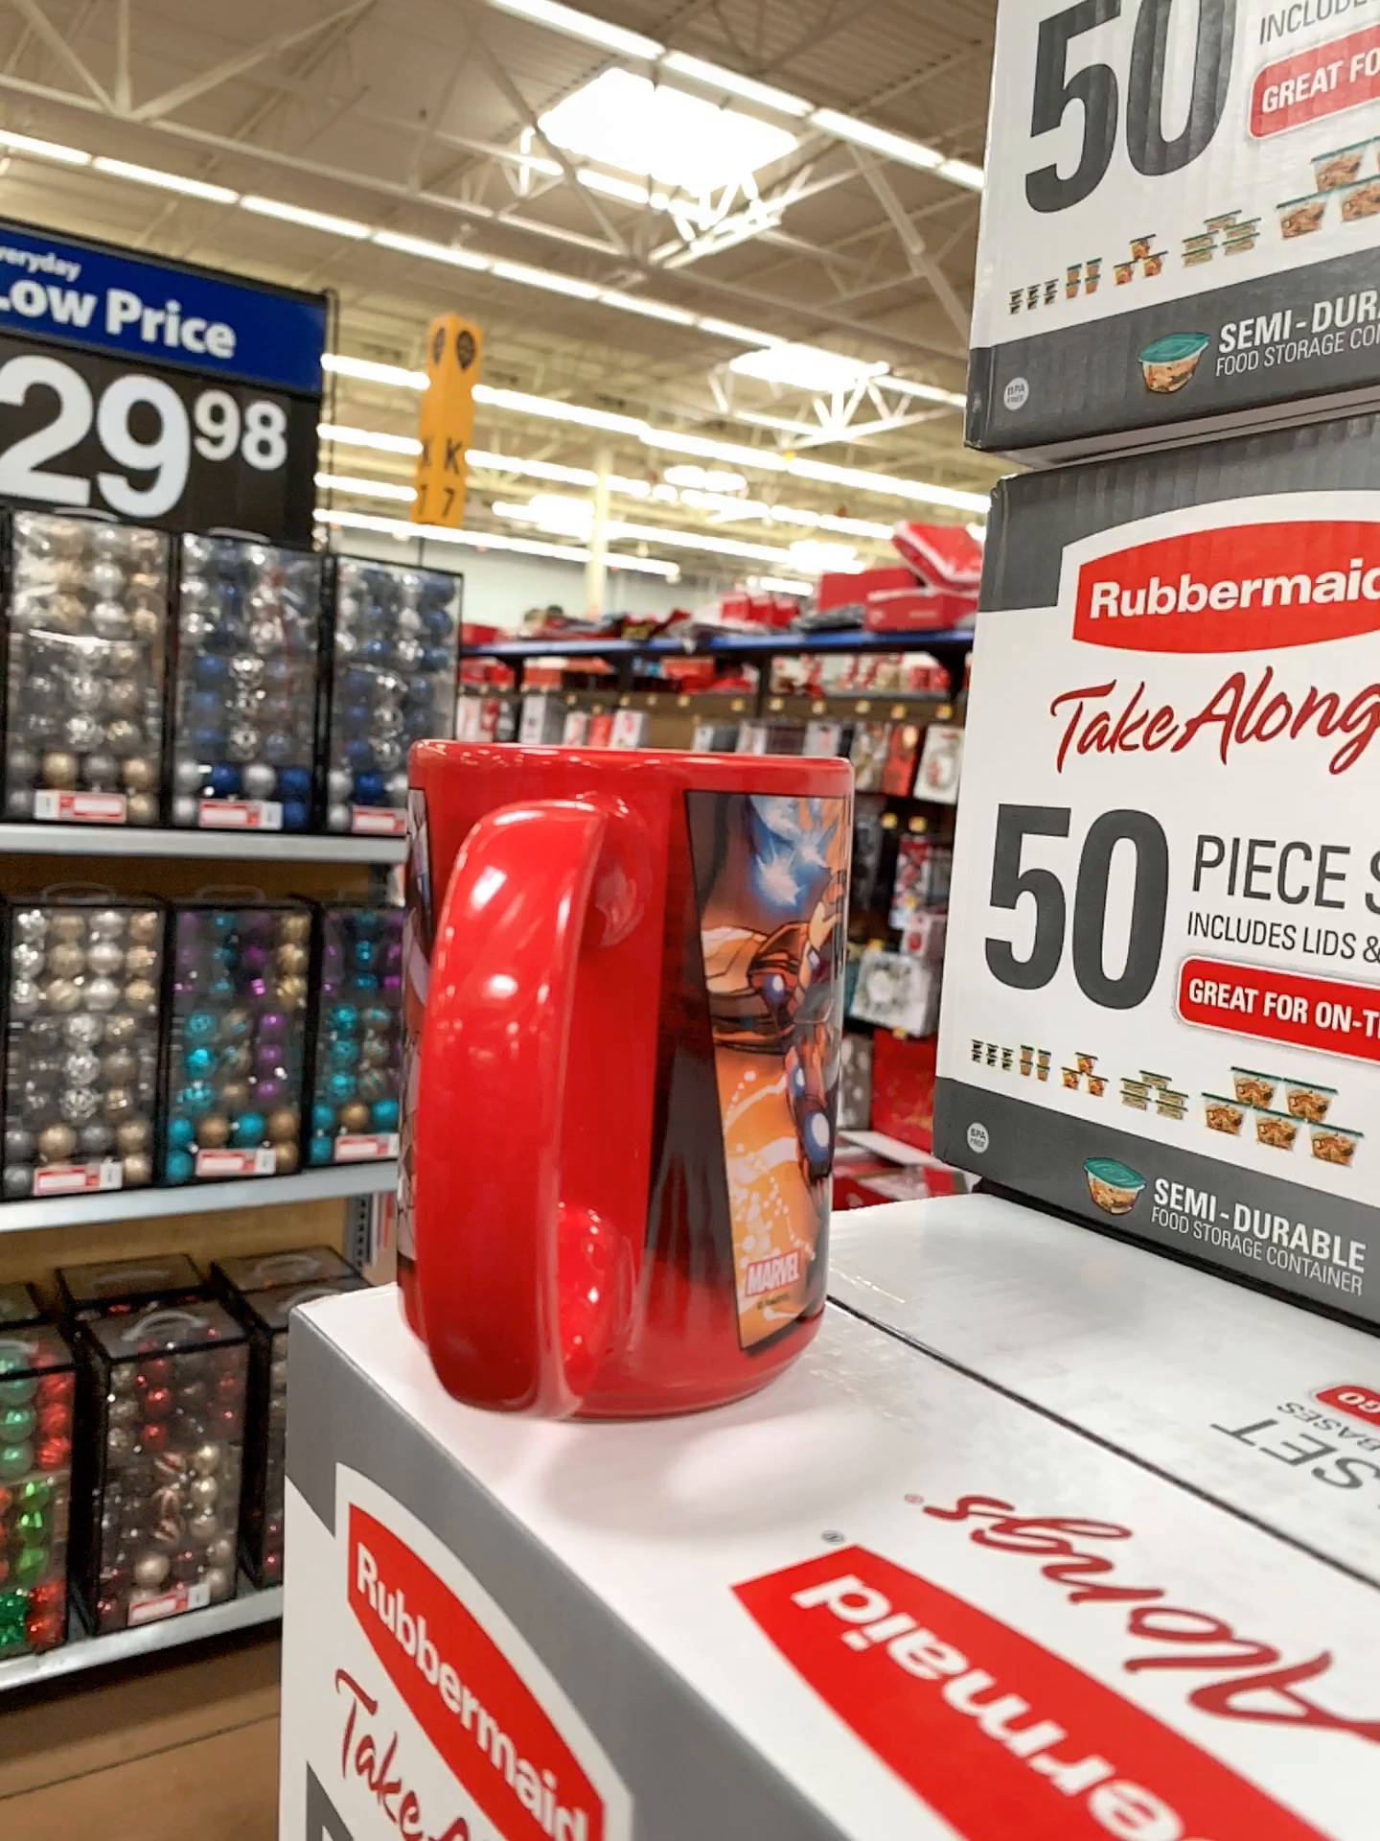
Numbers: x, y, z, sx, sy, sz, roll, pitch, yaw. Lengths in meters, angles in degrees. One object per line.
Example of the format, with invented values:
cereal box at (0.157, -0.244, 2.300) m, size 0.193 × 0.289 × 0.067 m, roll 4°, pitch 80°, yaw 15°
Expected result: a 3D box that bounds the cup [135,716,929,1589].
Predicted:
cup at (-0.016, 0.025, 0.255) m, size 0.100 × 0.114 × 0.119 m, roll 1°, pitch 5°, yaw 17°
